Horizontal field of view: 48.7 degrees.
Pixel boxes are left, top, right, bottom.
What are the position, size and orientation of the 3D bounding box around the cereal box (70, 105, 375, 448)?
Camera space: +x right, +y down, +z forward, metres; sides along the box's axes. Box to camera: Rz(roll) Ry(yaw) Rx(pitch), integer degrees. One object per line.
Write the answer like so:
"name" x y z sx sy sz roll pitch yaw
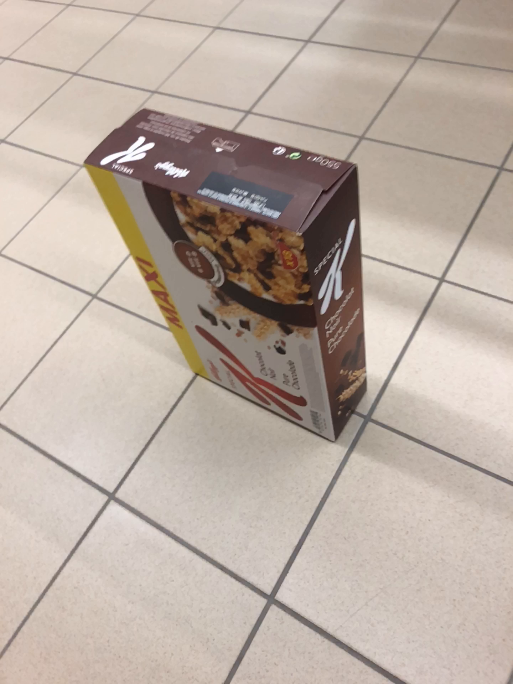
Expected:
"cereal box" -0.006 -0.041 0.511 0.210 0.299 0.070 21 61 25
